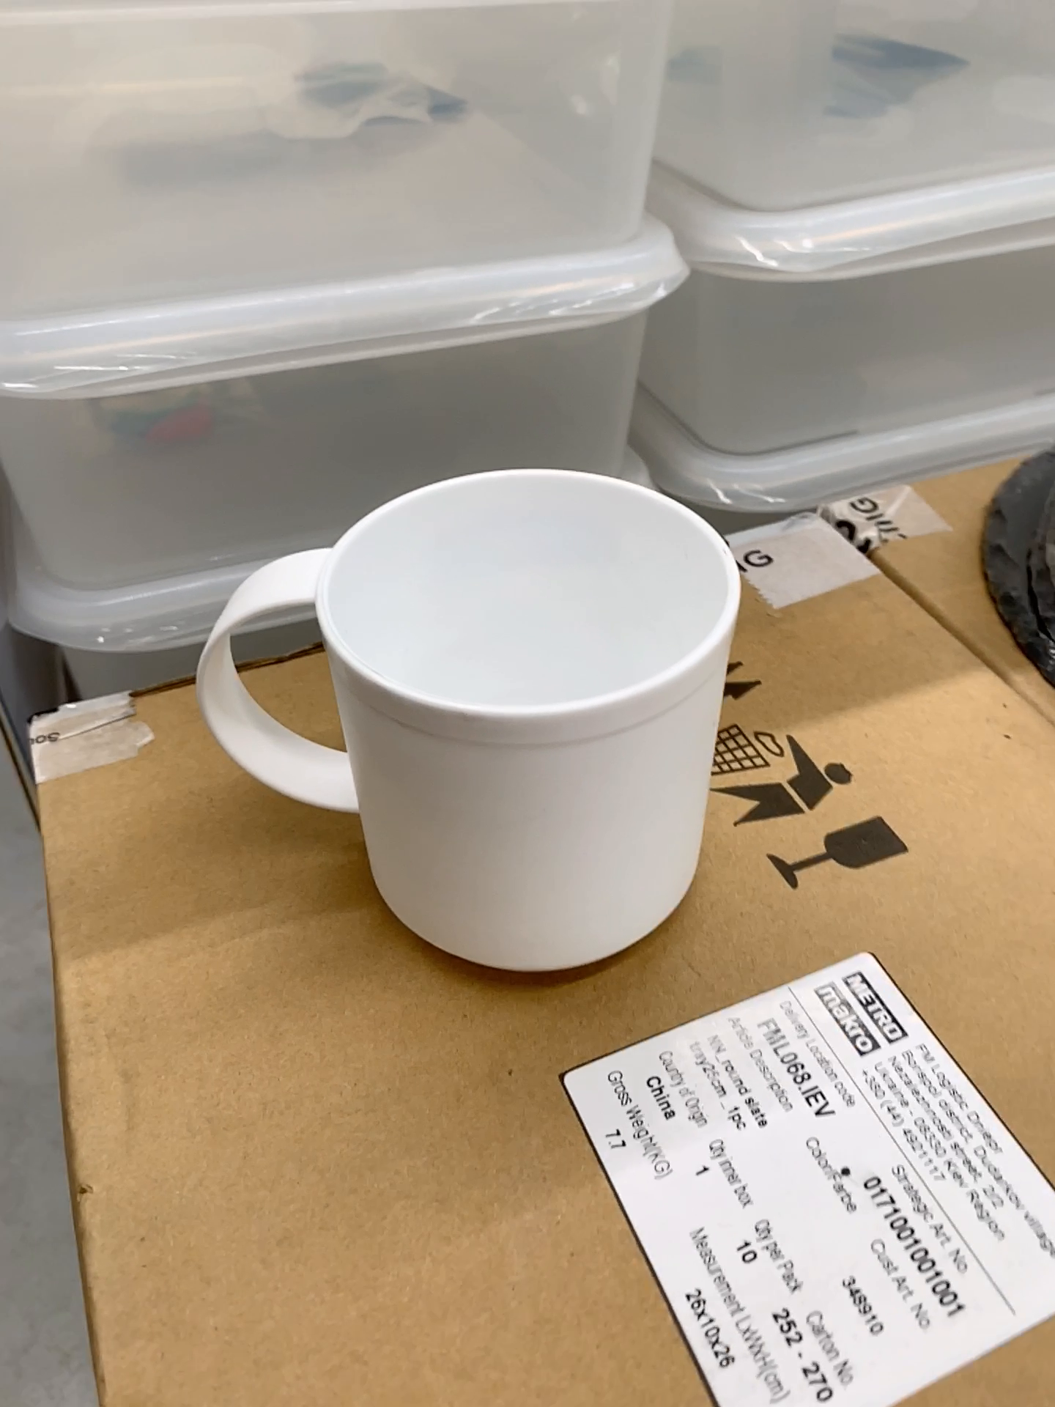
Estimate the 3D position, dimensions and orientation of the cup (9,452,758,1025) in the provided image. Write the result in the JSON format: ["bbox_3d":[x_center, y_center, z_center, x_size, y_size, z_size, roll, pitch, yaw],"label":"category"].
[{"bbox_3d":[-0.019,0.004,0.217,0.113,0.075,0.080,2,41,4],"label":"cup"}]
